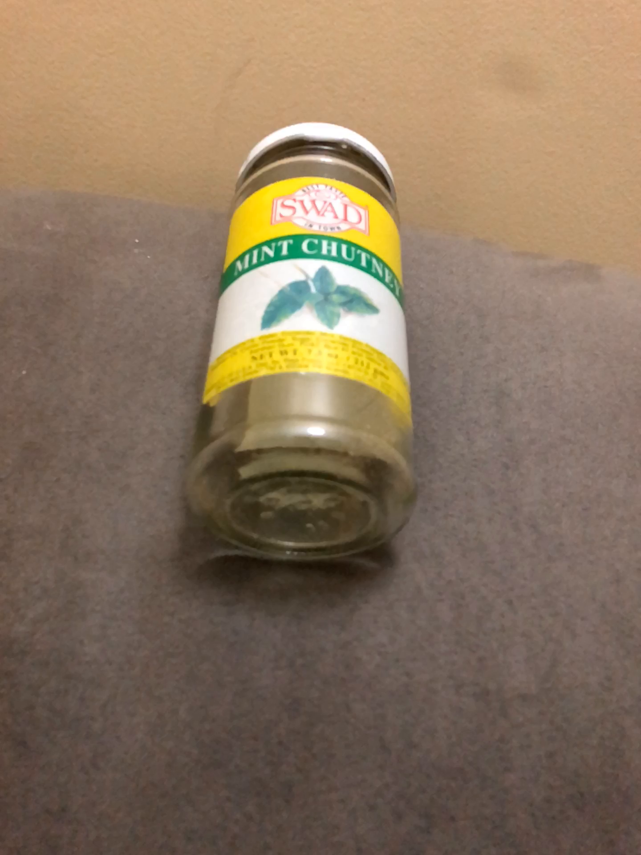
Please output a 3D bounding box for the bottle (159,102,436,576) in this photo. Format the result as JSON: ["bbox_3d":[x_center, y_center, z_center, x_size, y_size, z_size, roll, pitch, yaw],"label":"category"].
[{"bbox_3d":[-0.004,-0.031,0.208,0.056,0.056,0.133,1,54,0],"label":"bottle"}]
